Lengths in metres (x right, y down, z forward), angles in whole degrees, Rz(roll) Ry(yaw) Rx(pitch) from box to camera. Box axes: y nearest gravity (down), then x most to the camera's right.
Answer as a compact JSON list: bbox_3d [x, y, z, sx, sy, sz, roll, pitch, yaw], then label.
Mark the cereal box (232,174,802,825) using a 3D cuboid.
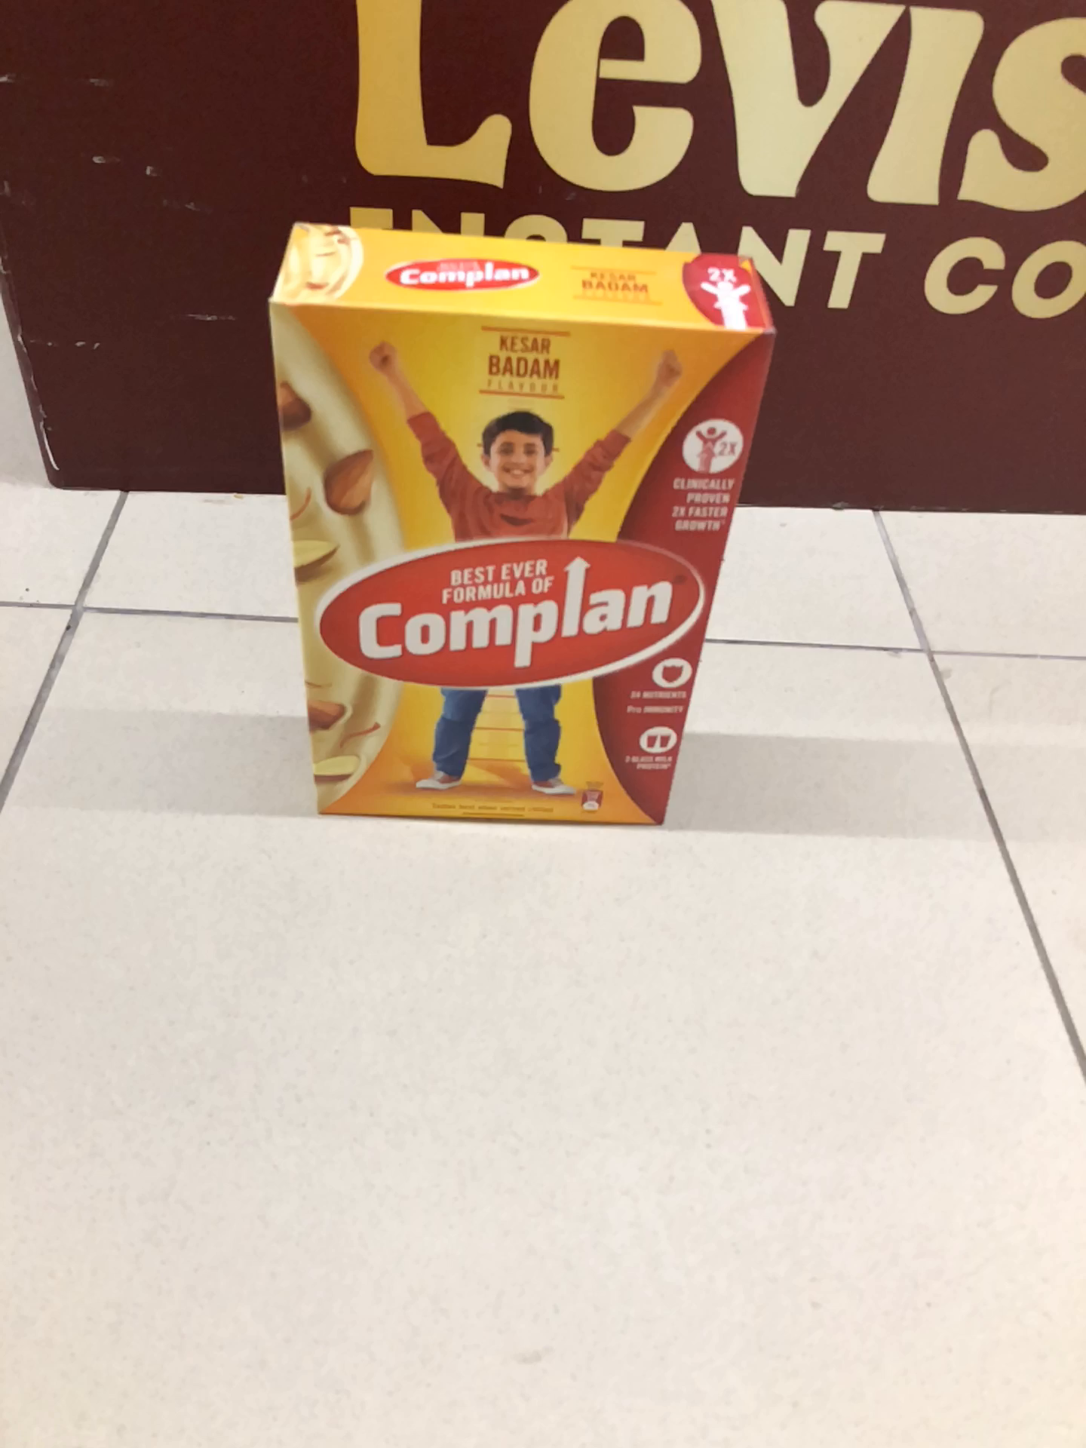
[{"bbox_3d":[-0.014,-0.061,0.411,0.150,0.218,0.060,2,45,-4],"label":"cereal box"}]
